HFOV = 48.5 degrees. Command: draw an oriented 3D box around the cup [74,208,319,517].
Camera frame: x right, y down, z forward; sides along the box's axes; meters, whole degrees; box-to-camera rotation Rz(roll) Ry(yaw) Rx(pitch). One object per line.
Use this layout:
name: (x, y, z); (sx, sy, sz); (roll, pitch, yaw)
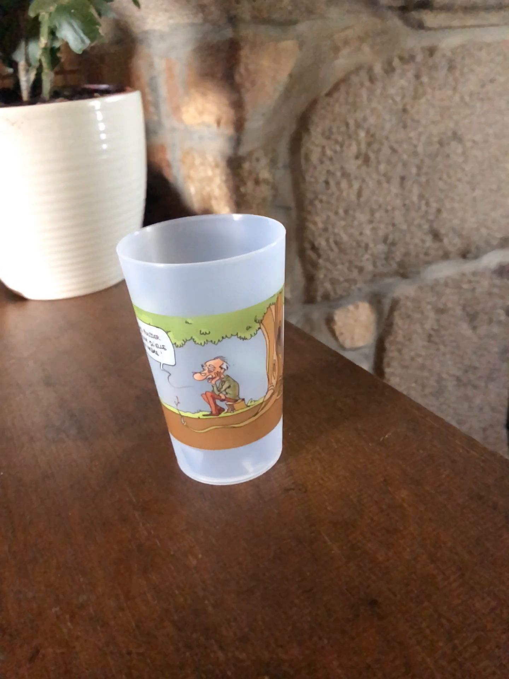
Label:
cup: (-0.018, 0.006, 0.274); (0.080, 0.119, 0.080); (-4, 26, 2)

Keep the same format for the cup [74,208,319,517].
cup: (-0.018, 0.006, 0.274); (0.080, 0.119, 0.080); (-4, 26, 2)
